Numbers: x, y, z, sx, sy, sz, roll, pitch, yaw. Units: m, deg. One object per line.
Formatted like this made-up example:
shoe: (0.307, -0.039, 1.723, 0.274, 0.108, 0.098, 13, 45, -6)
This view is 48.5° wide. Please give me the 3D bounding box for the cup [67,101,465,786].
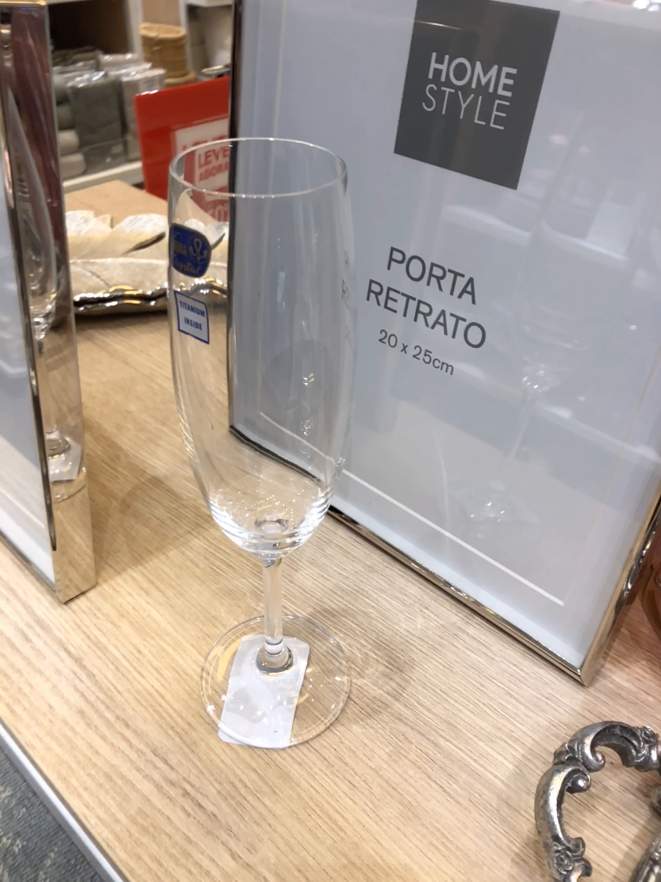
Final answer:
cup: (-0.018, 0.014, 0.250, 0.070, 0.218, 0.070, 1, 38, -1)
